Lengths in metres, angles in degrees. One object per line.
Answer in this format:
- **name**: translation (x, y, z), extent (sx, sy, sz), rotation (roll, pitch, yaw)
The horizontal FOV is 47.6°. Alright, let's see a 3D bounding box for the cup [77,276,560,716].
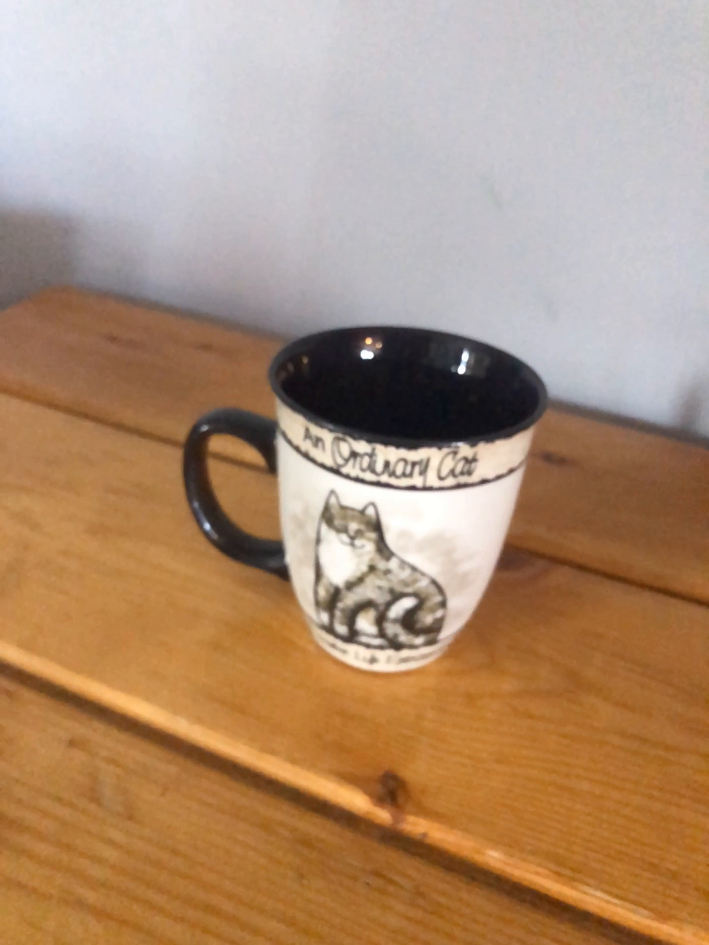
- **cup**: translation (-0.007, 0.001, 0.302), extent (0.140, 0.100, 0.100), rotation (12, 34, 12)
